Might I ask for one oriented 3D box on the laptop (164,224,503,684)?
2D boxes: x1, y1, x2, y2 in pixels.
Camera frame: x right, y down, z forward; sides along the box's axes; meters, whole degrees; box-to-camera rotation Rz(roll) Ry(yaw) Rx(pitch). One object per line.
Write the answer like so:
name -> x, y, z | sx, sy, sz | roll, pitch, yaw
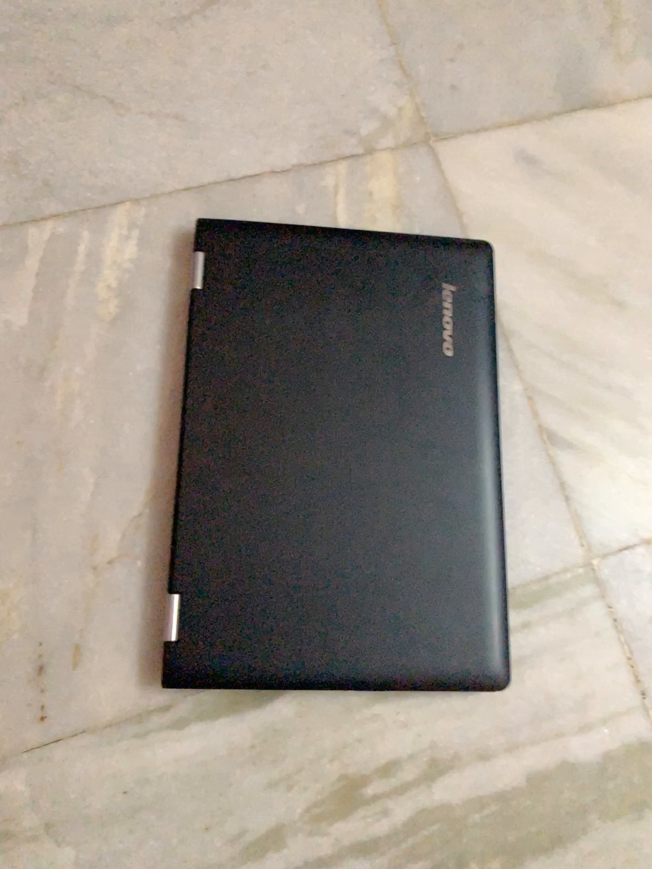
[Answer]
laptop -> 0.012, 0.005, 0.476 | 0.223, 0.001, 0.325 | 3, 77, -6
